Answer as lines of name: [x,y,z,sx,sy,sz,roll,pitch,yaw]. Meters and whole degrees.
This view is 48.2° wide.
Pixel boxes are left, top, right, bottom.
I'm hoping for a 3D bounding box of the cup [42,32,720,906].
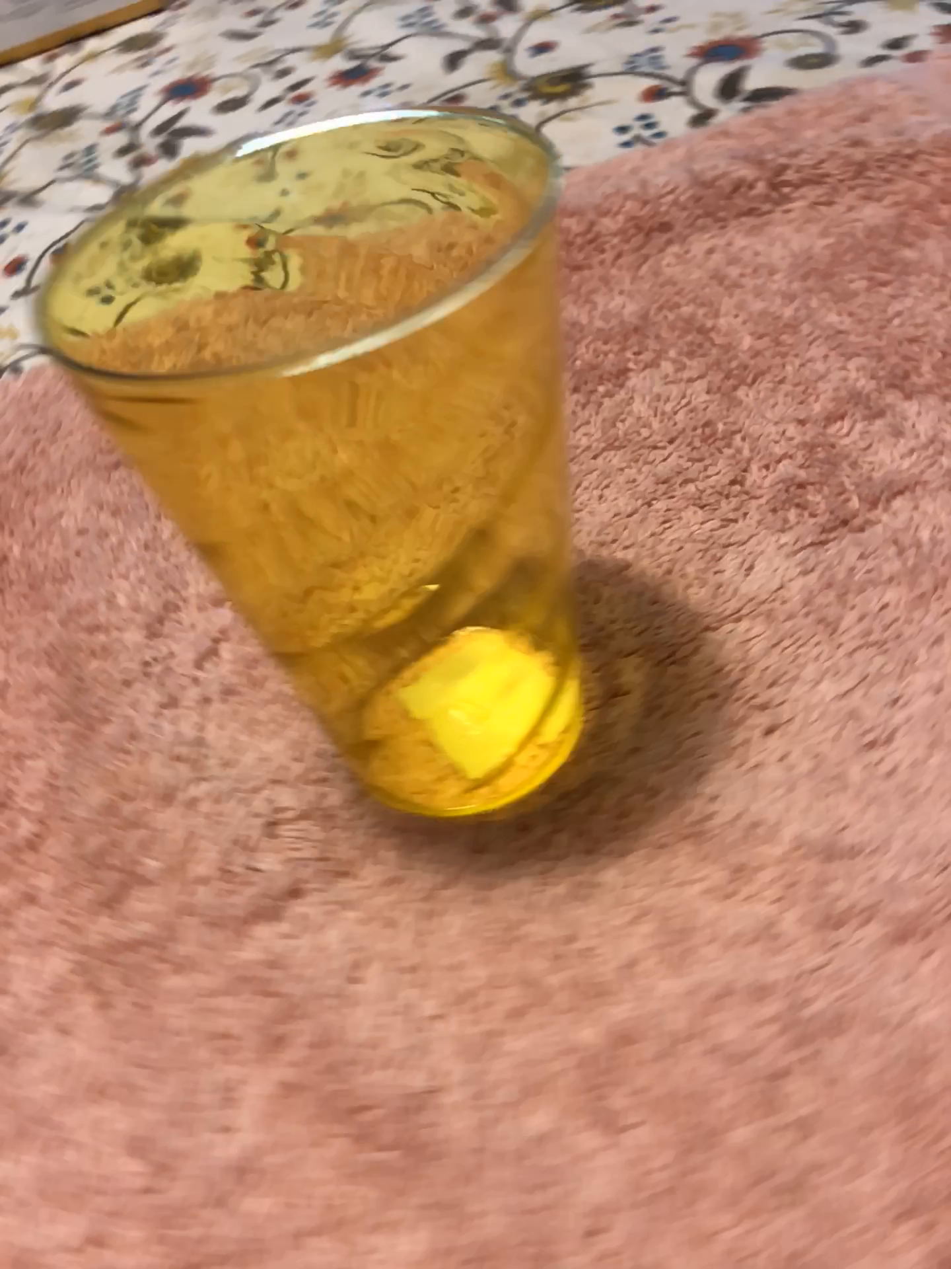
cup: [-0.008,-0.023,0.196,0.080,0.119,0.081,-7,48,8]
